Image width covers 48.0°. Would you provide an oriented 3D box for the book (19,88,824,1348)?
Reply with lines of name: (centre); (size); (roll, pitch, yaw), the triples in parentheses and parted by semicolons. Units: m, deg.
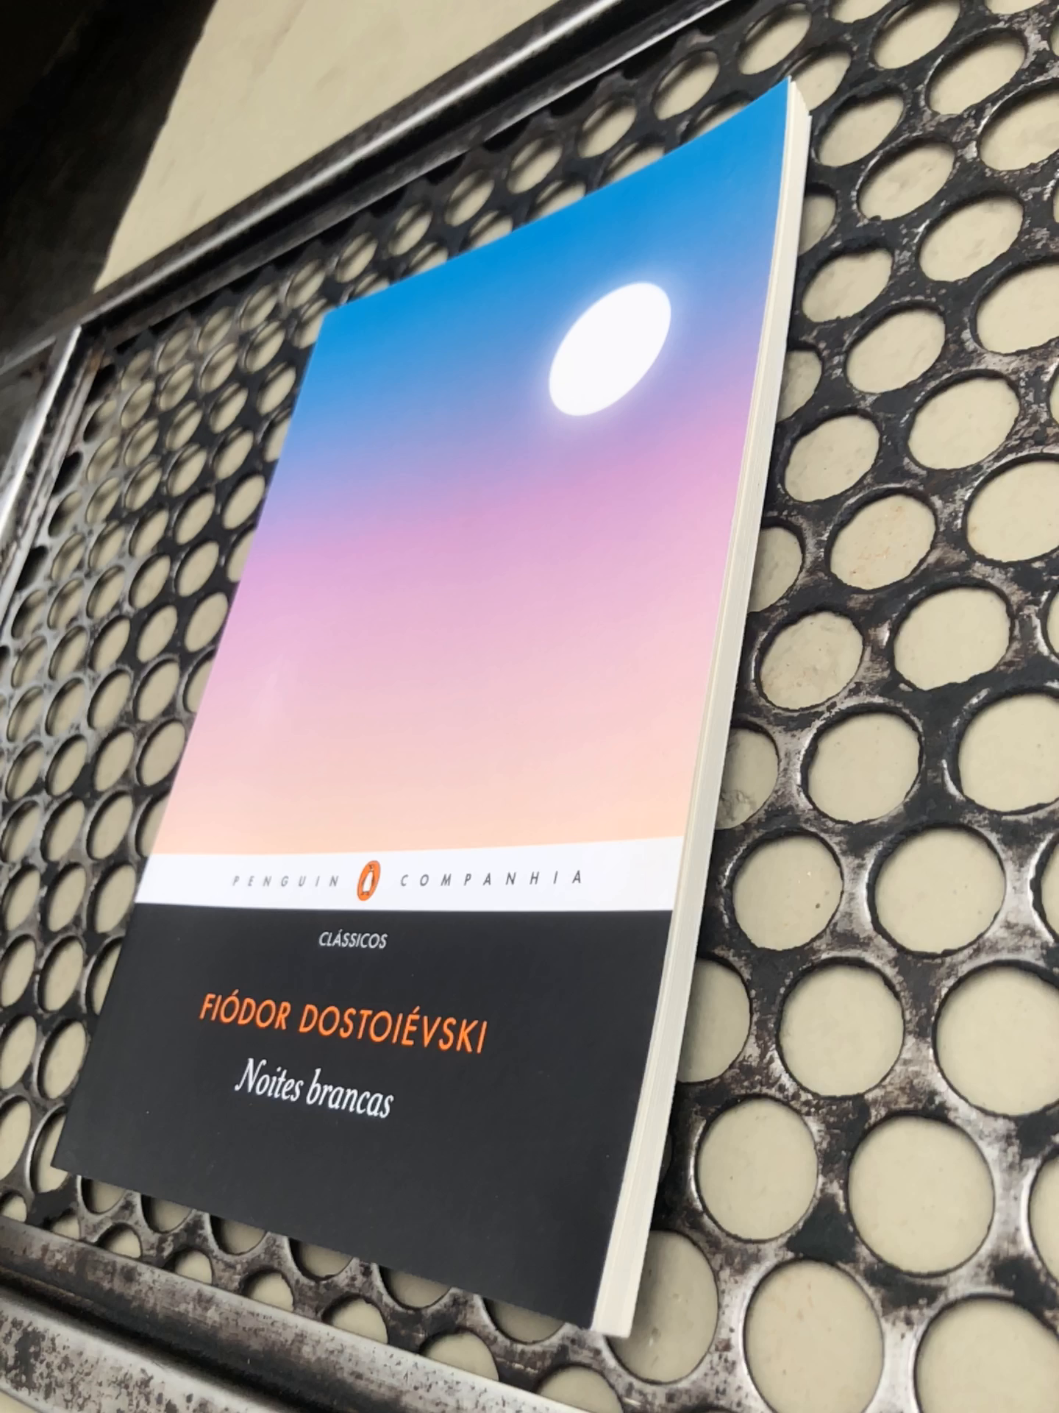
book: (-0.021, -0.009, 0.212); (0.133, 0.010, 0.191); (-7, 62, 40)
